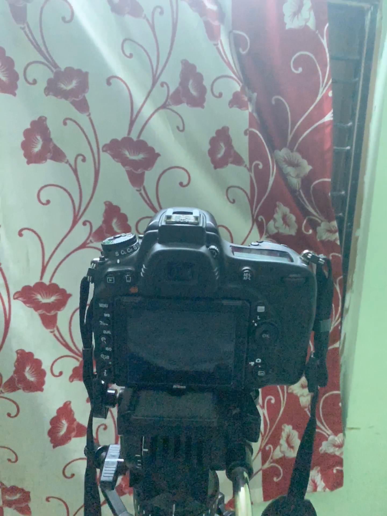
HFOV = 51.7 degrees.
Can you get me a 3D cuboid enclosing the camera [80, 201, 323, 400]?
[{"bbox_3d":[0.003,0.019,0.301,0.139,0.112,0.129,2,10,0],"label":"camera"}]
